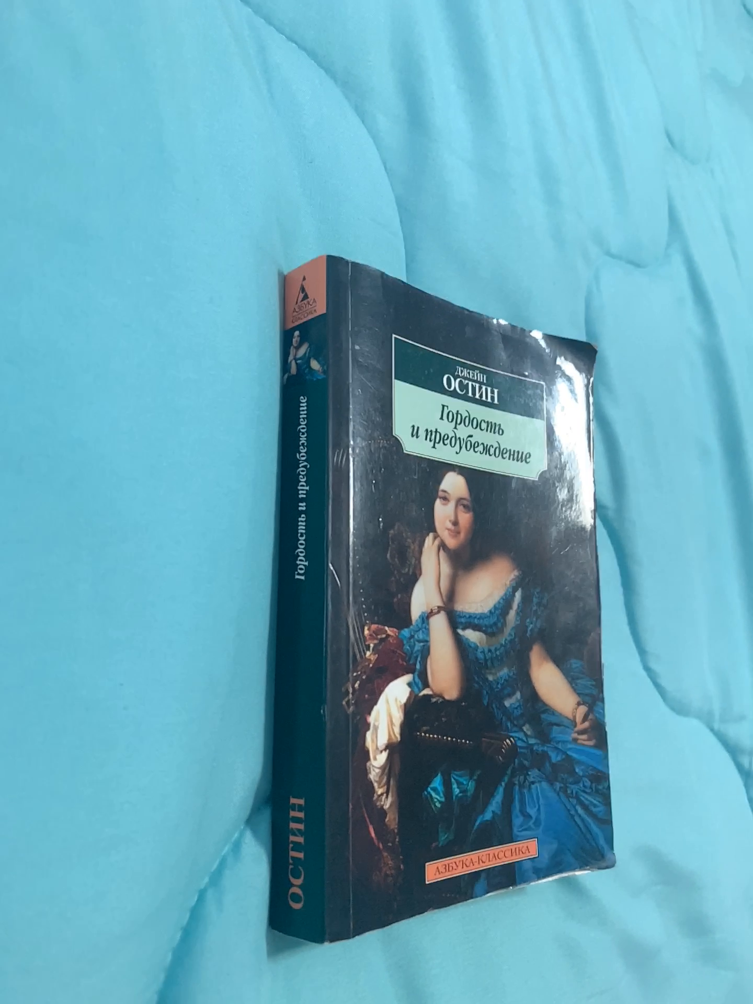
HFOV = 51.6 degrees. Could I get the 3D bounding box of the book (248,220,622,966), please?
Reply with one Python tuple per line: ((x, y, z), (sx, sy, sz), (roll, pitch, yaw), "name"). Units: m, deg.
((0.021, 0.024, 0.235), (0.111, 0.044, 0.173), (12, 73, -45), "book")
